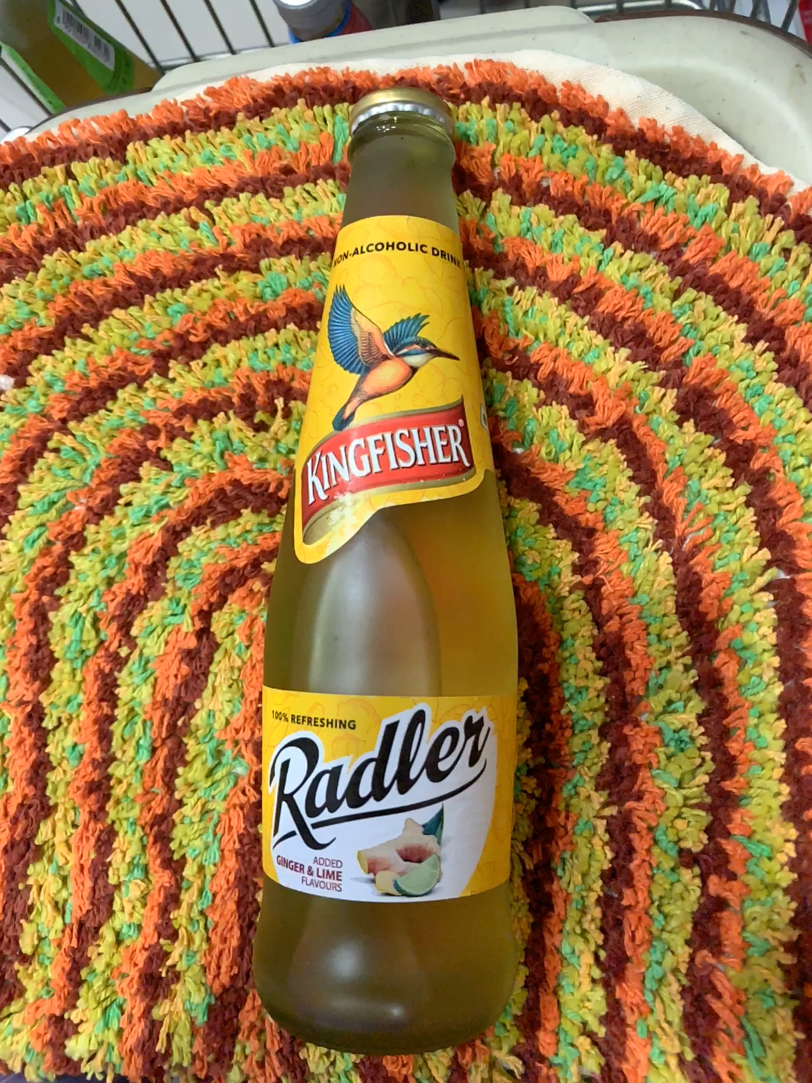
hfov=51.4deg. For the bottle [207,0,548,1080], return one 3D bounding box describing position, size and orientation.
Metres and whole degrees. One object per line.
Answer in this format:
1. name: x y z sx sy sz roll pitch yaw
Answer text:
1. bottle: 0.000 -0.010 0.198 0.060 0.060 0.220 0 83 13
